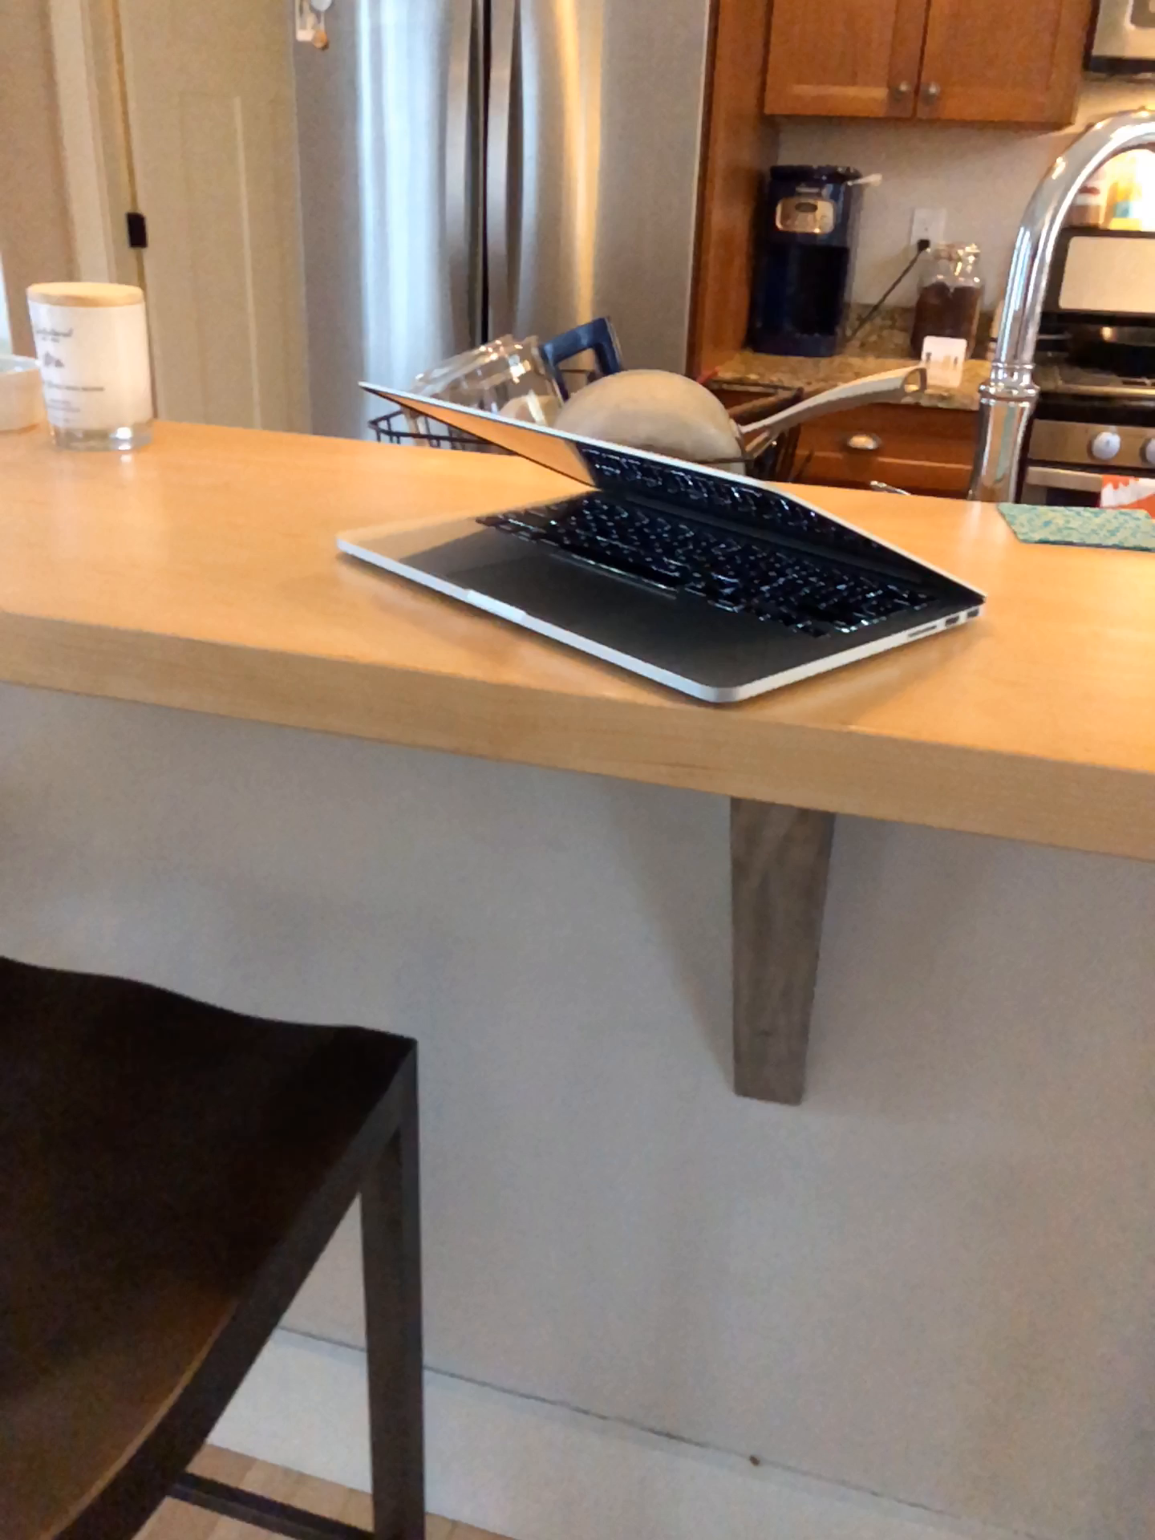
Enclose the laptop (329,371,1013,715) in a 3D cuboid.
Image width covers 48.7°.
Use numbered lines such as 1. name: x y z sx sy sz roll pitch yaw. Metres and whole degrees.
1. laptop: 0.038 -0.142 0.687 0.211 0.084 0.300 -19 33 -38
